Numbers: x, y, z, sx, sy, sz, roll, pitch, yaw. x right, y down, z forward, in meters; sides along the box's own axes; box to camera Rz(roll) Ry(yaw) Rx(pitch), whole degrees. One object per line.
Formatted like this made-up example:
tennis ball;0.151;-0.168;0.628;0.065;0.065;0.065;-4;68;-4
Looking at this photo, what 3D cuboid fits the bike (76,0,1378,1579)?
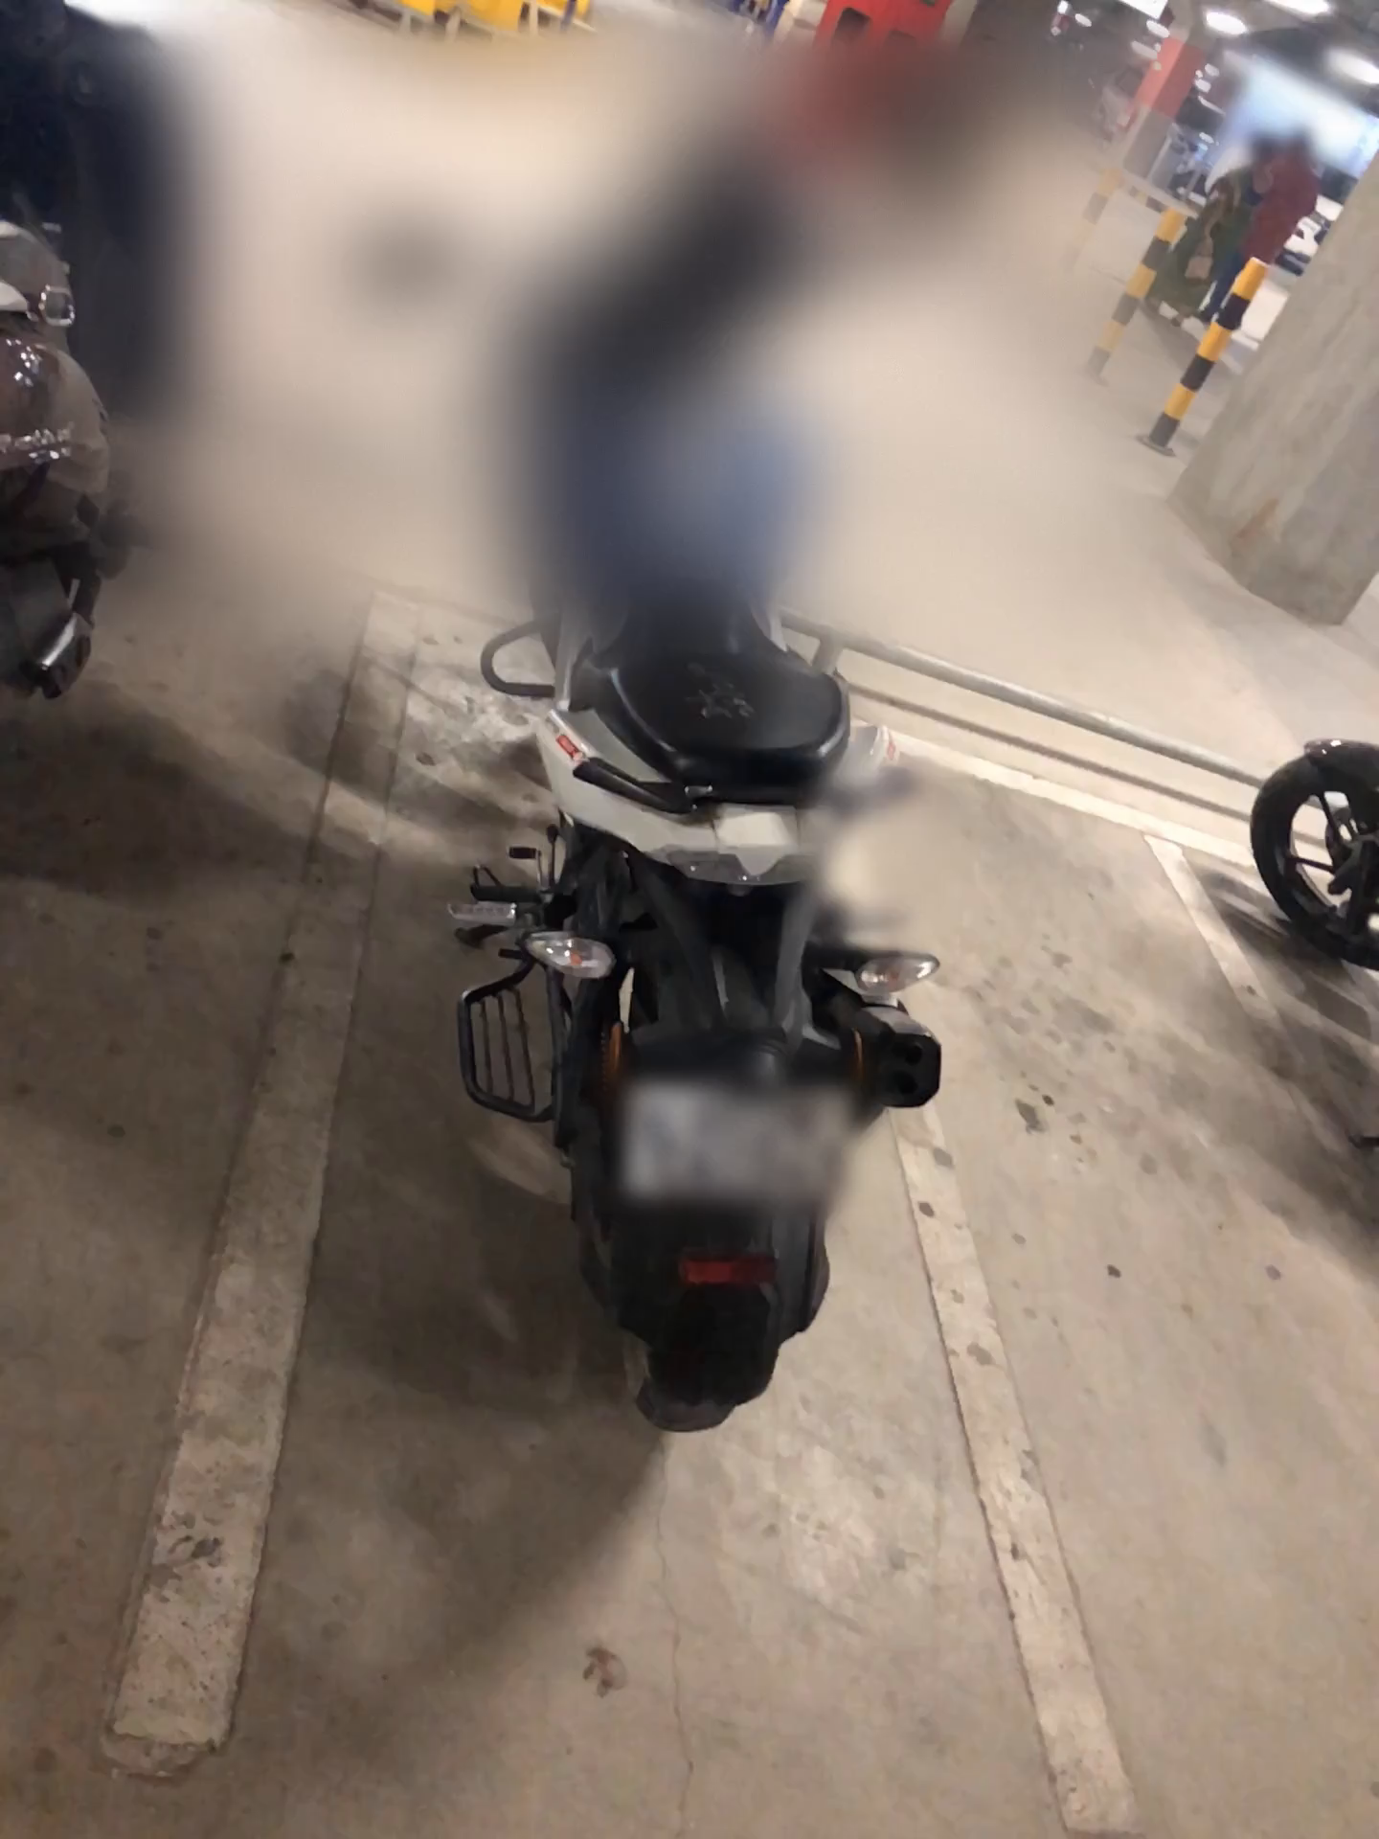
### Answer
bike;-0.204;-0.369;2.086;0.806;1.162;1.994;12;33;-21
